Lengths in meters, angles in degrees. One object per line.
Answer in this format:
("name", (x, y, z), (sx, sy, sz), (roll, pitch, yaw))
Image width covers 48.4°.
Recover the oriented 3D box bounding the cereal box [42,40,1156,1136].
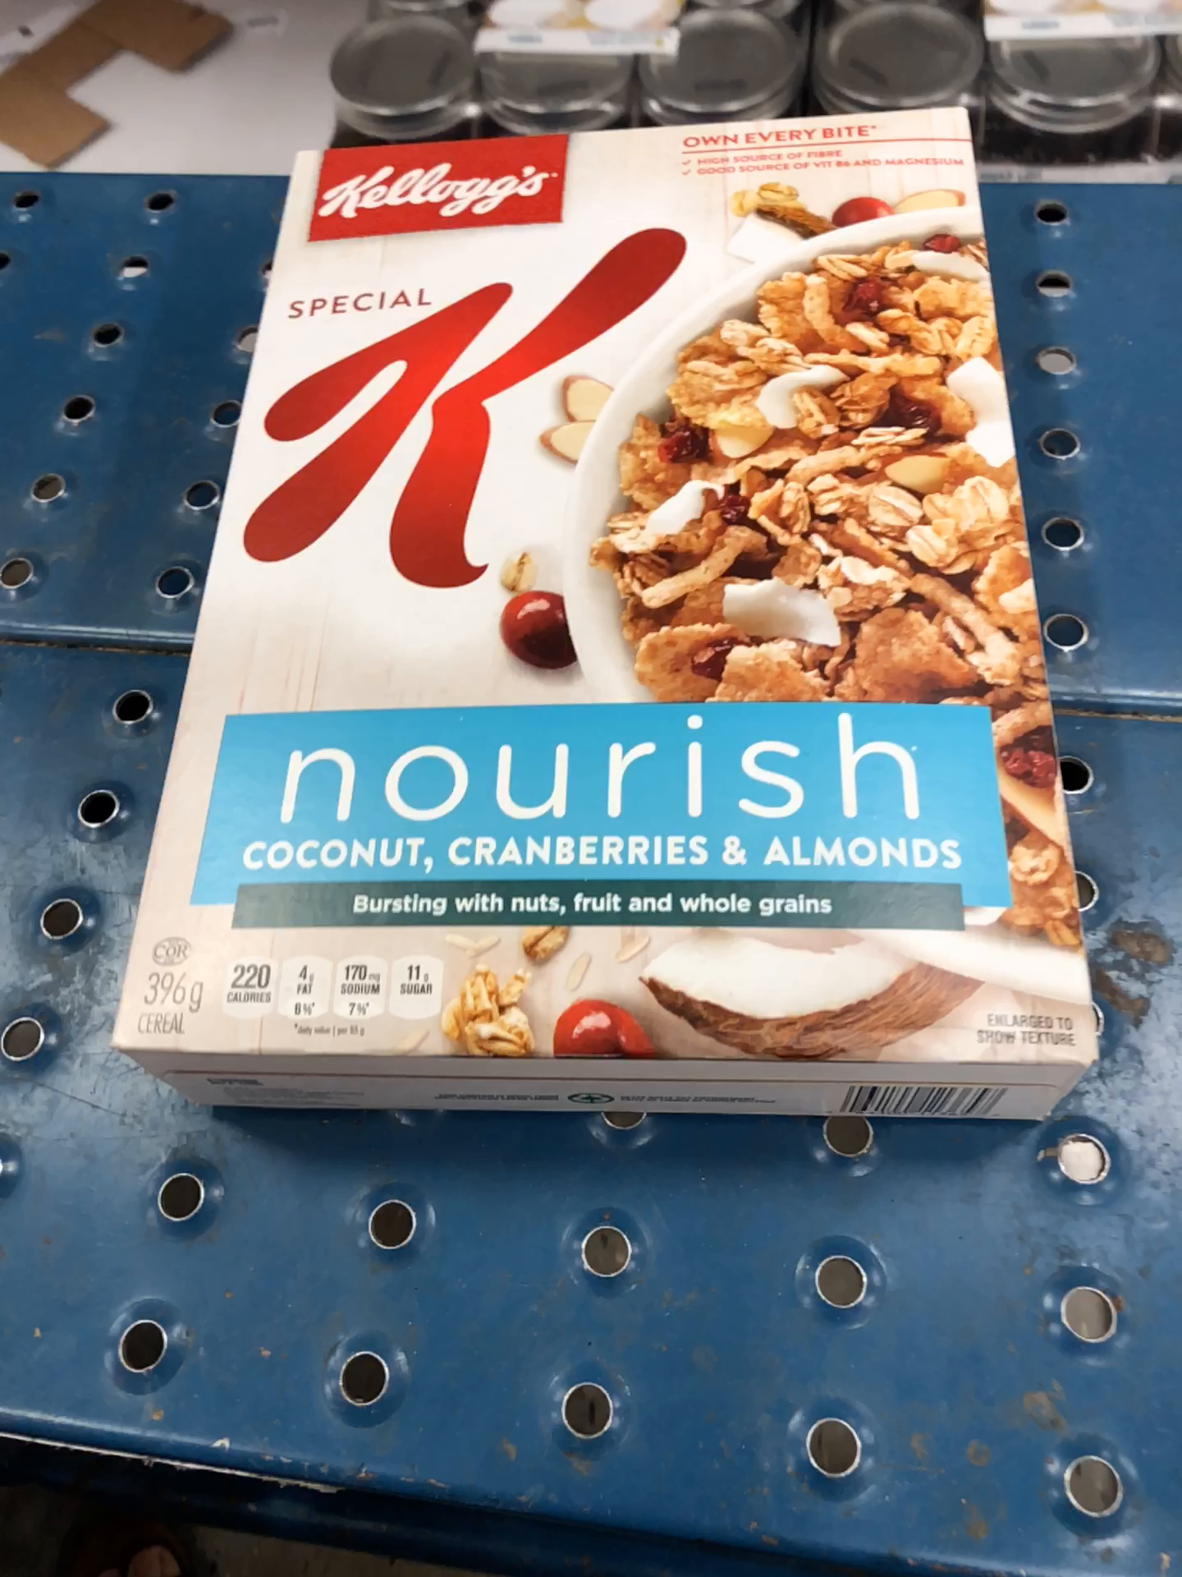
("cereal box", (0.004, -0.065, 0.334), (0.210, 0.050, 0.291), (-1, 63, 6))
